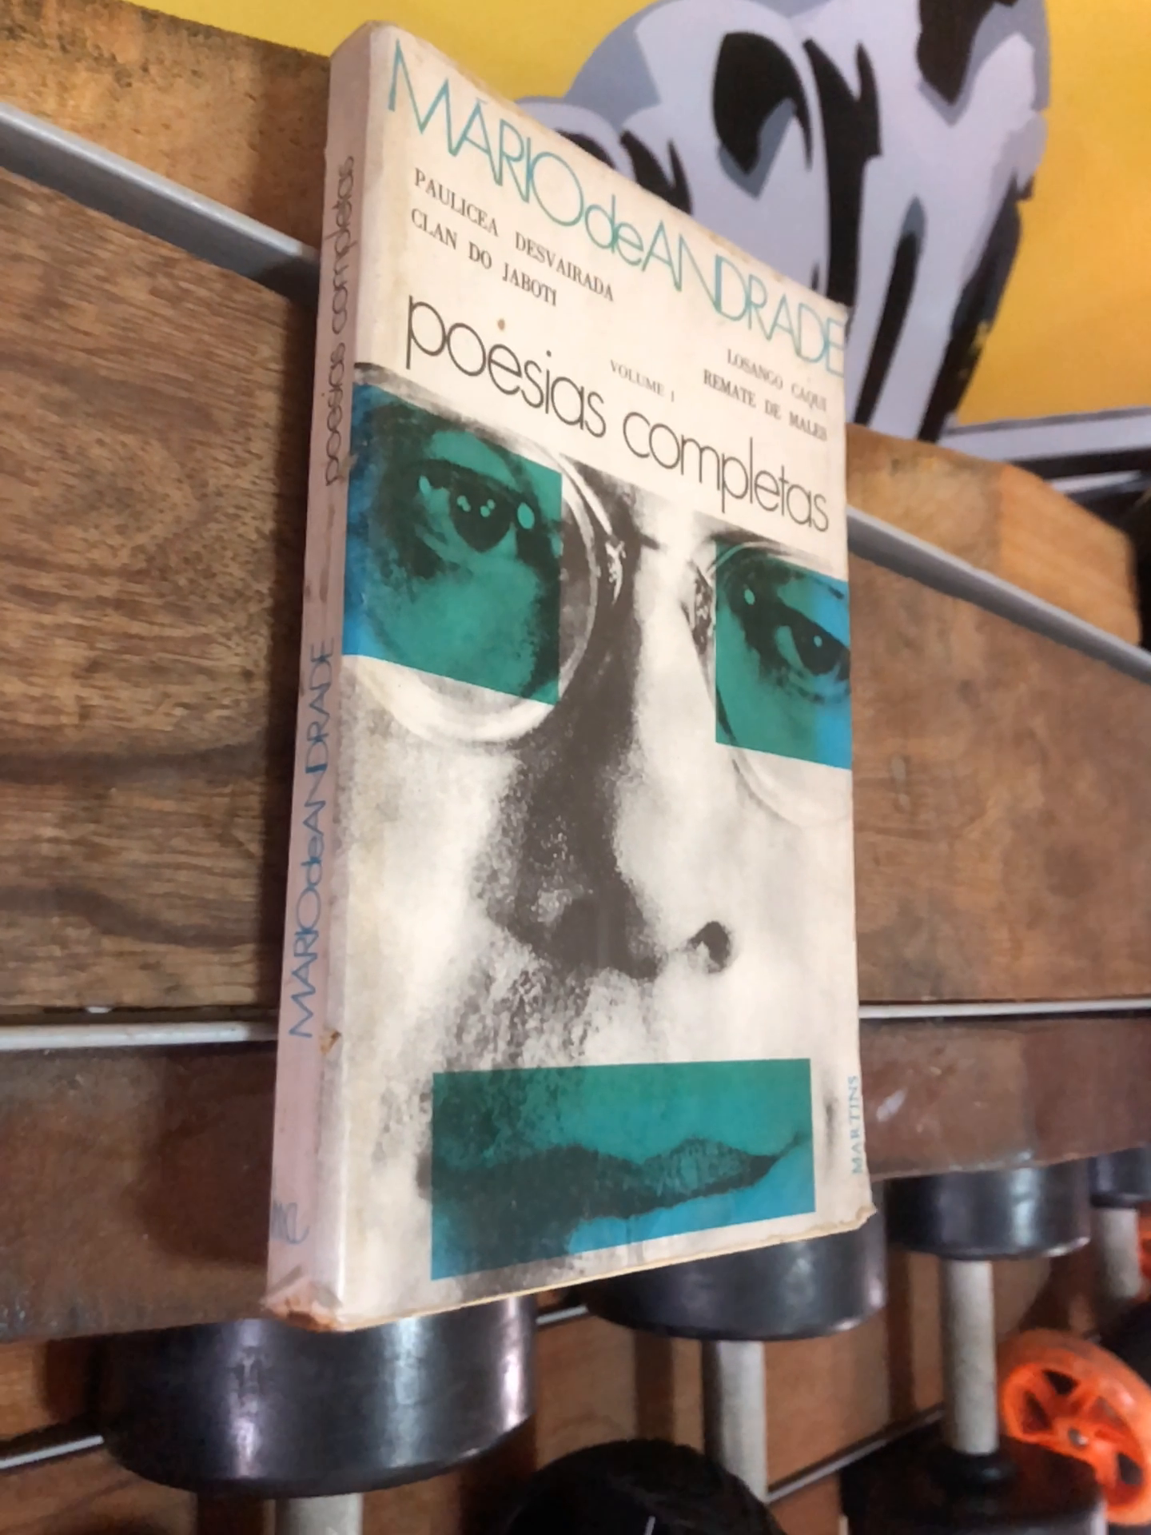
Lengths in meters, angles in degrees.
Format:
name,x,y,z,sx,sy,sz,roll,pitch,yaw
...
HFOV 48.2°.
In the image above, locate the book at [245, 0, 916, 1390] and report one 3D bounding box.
name,x,y,z,sx,sy,sz,roll,pitch,yaw
book,0.015,-0.016,0.233,0.141,0.020,0.210,11,76,-45
